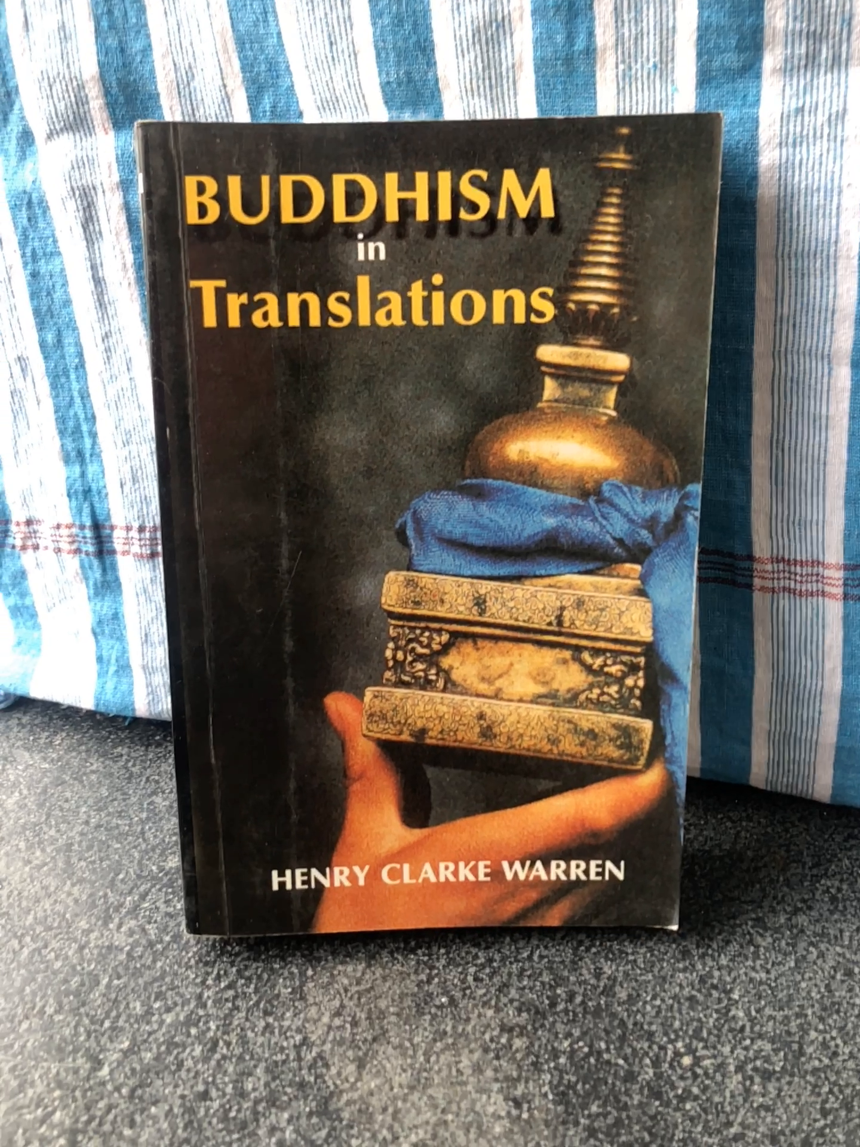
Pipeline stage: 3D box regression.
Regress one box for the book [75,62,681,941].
[{"bbox_3d":[-0.010,-0.015,0.255,0.140,0.210,0.050,-1,6,0],"label":"book"}]
